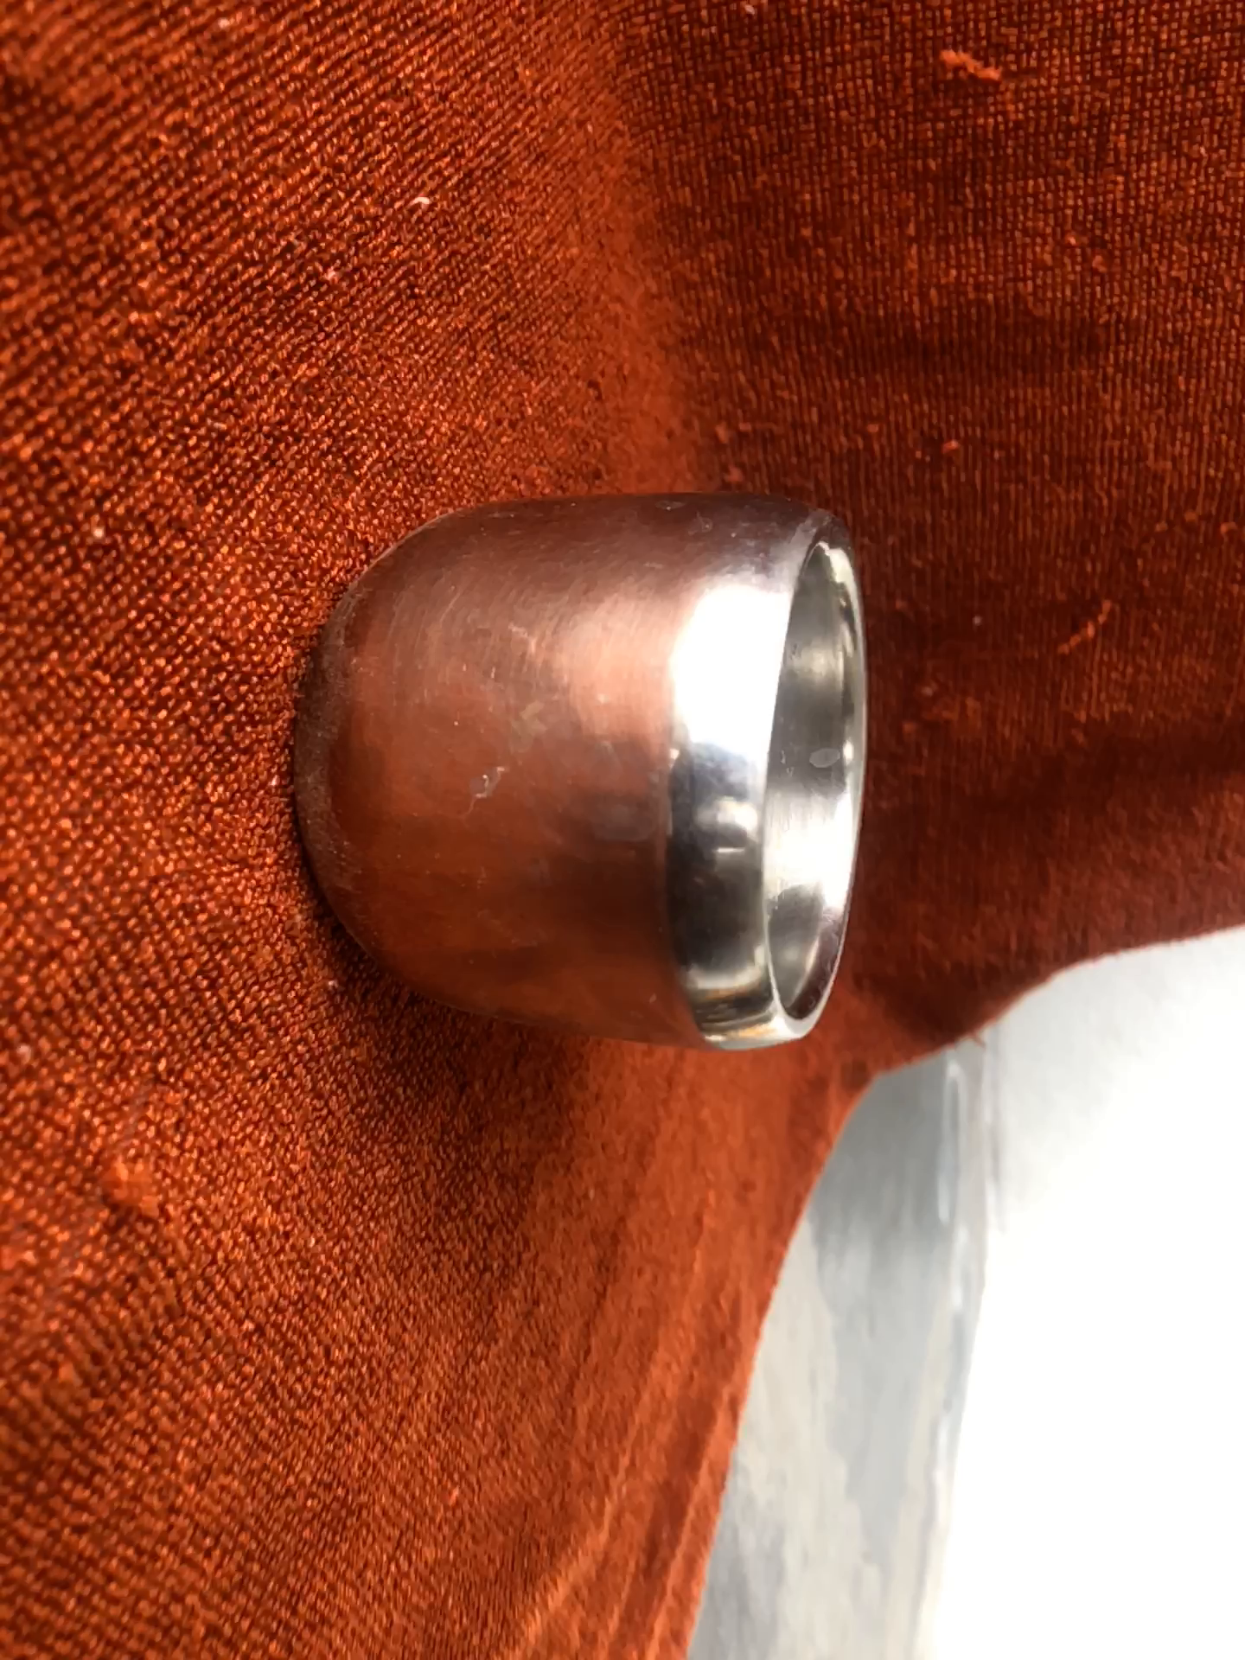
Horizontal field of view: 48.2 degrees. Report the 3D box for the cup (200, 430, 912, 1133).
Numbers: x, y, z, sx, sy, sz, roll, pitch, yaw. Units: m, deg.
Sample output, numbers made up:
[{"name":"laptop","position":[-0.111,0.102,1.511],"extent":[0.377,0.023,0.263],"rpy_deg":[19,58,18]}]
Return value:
[{"name":"cup","position":[0.001,-0.001,0.190],"extent":[0.090,0.060,0.060],"rpy_deg":[54,45,-62]}]
